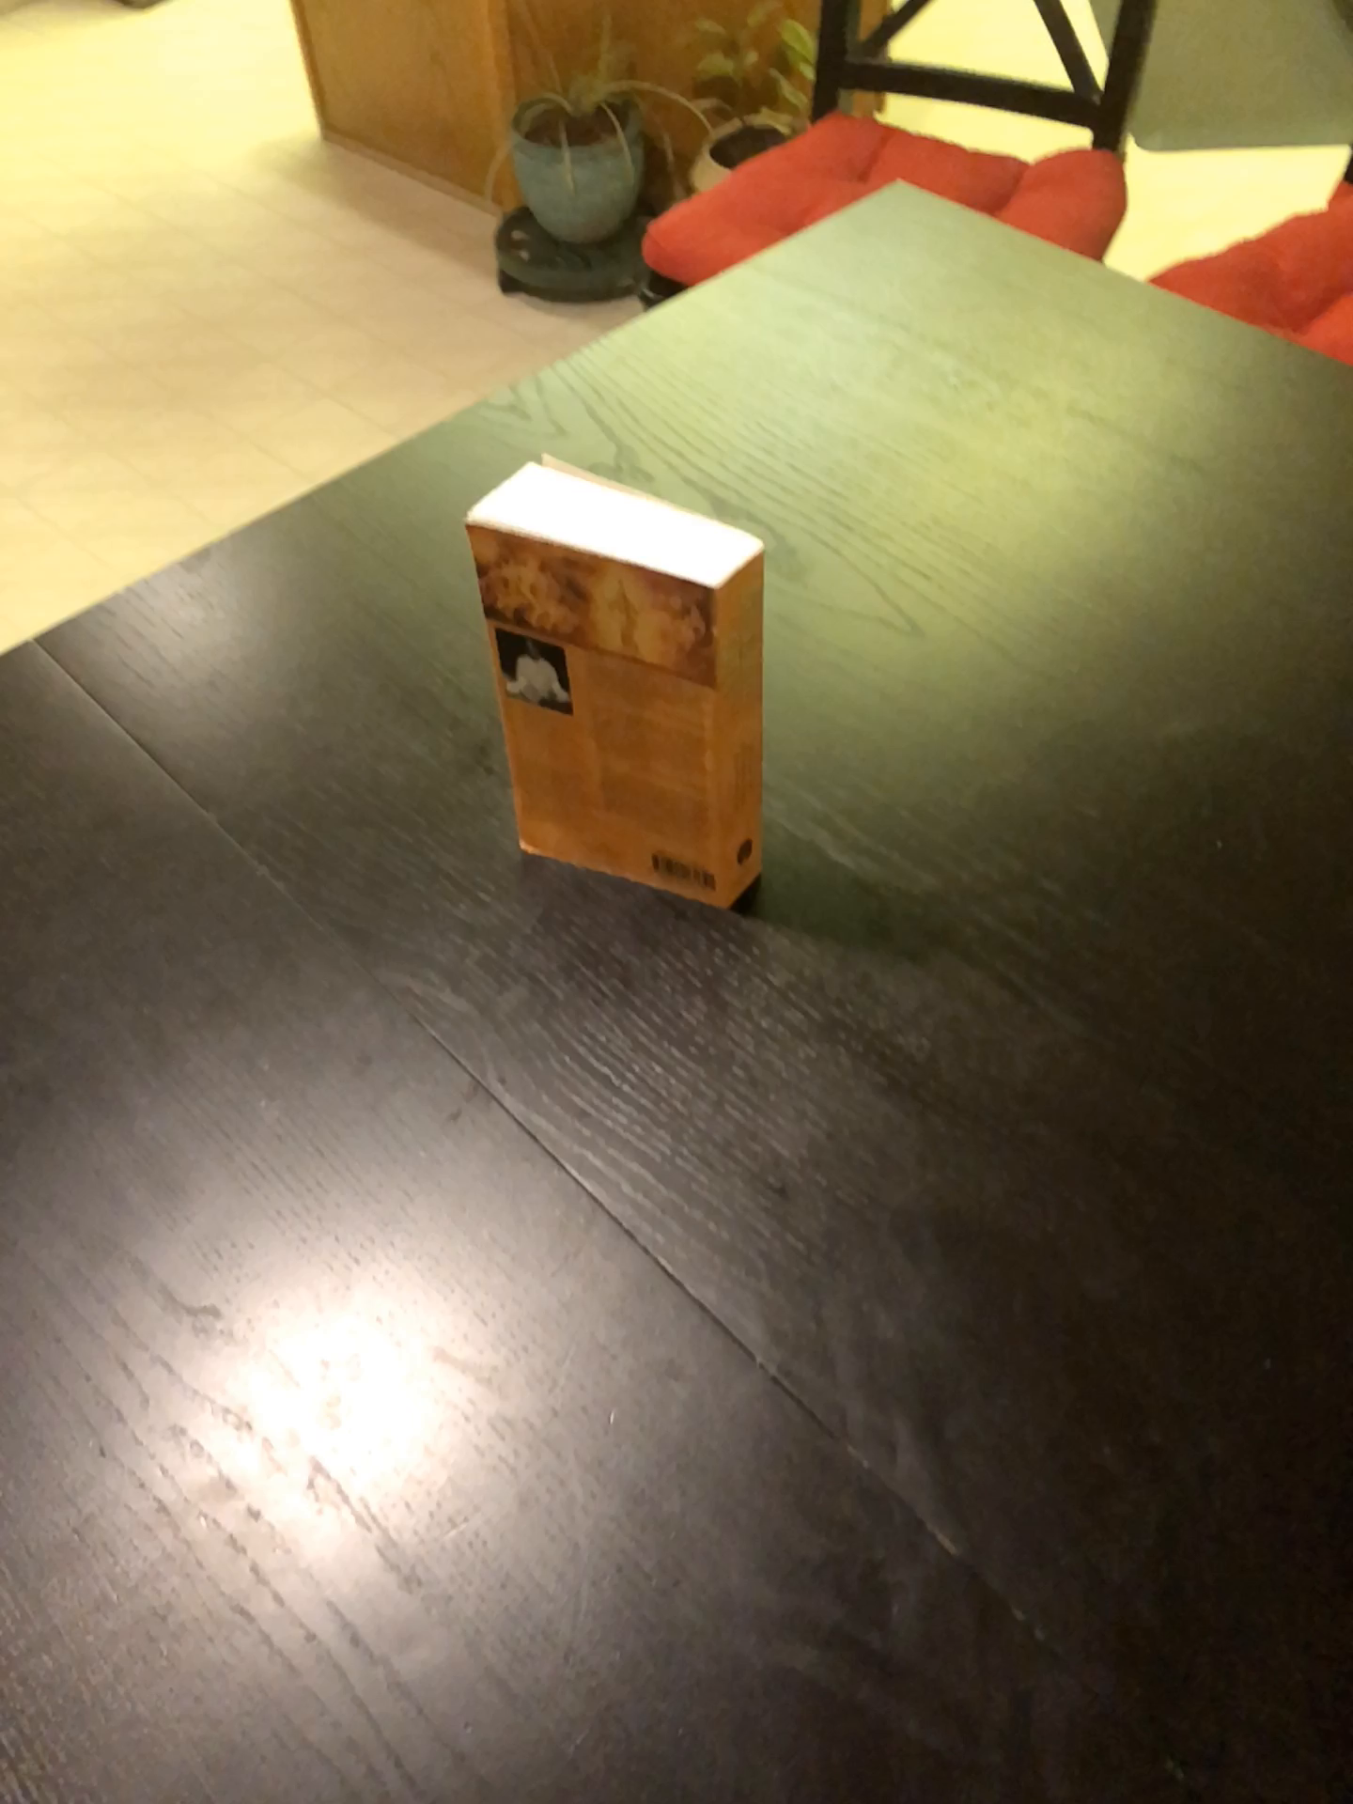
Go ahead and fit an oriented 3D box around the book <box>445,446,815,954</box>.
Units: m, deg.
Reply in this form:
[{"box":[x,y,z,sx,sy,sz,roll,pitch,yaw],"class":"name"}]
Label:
[{"box":[-0.015,-0.079,0.615,0.126,0.174,0.059,26,55,23],"class":"book"}]
